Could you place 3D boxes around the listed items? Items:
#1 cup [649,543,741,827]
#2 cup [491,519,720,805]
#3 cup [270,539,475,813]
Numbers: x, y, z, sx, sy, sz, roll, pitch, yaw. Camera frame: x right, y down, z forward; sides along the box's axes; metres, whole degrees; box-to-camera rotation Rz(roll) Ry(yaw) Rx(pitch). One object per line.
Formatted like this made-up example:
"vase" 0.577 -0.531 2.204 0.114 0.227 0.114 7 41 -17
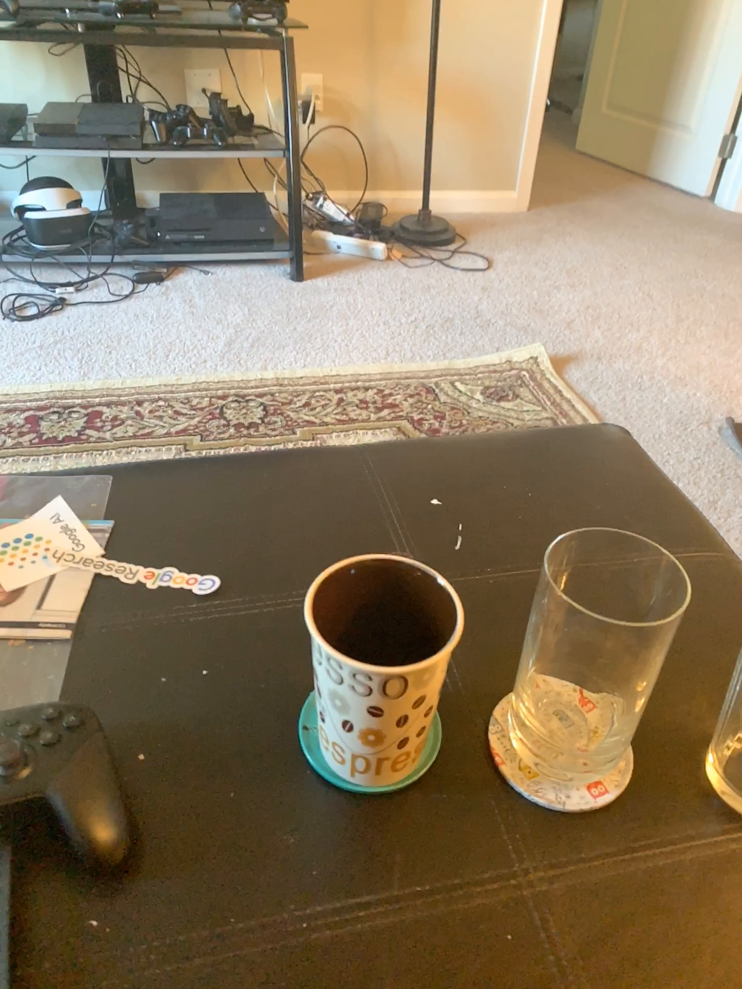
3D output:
"cup" 0.223 0.107 0.416 0.080 0.139 0.081 2 37 -2
"cup" 0.116 0.092 0.412 0.080 0.129 0.080 2 37 -2
"cup" 0.002 0.098 0.418 0.090 0.099 0.091 2 37 -2
